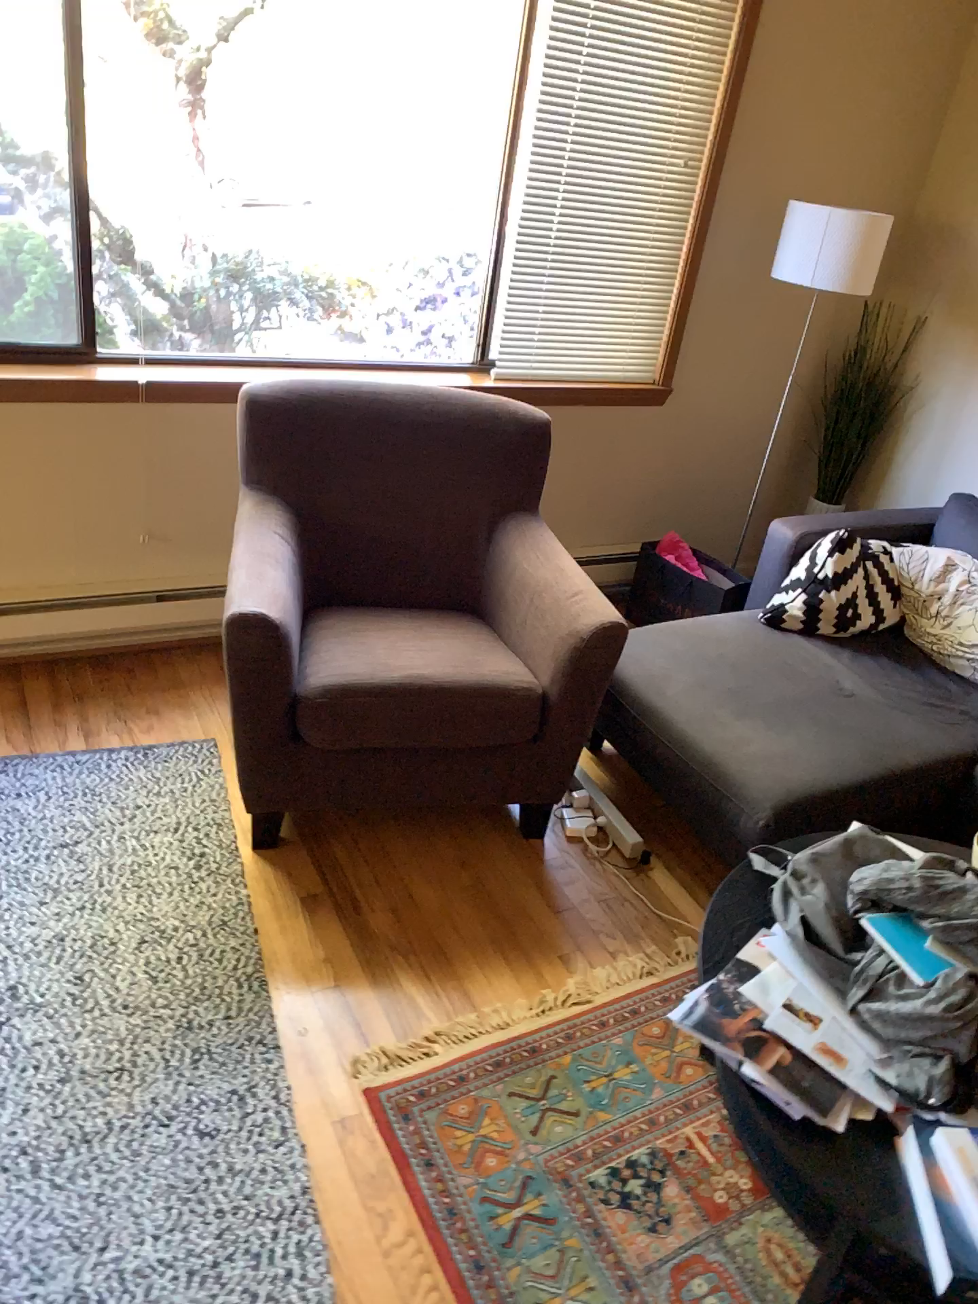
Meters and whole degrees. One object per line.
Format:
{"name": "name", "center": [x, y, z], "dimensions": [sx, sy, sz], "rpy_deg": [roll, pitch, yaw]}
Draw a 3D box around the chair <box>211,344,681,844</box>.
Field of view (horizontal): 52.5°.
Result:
{"name": "chair", "center": [-0.200, -0.167, 2.377], "dimensions": [0.880, 0.875, 0.805], "rpy_deg": [1, 27, -16]}
